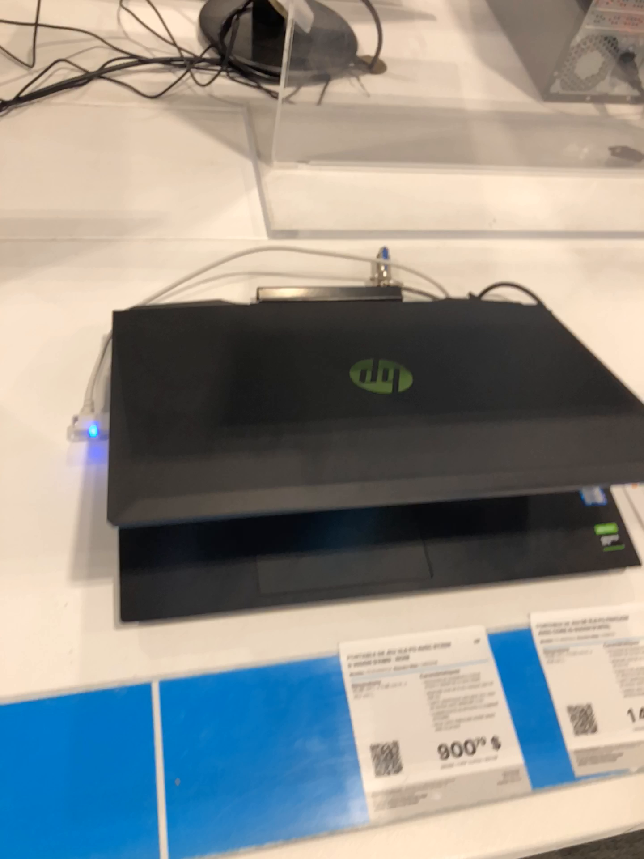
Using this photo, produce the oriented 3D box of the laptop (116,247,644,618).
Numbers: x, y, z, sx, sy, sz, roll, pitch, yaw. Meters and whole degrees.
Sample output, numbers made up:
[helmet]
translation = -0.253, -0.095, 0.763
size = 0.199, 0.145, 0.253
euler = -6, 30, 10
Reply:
[laptop]
translation = 0.040, -0.014, 0.491
size = 0.339, 0.064, 0.221
euler = -4, 63, -14
